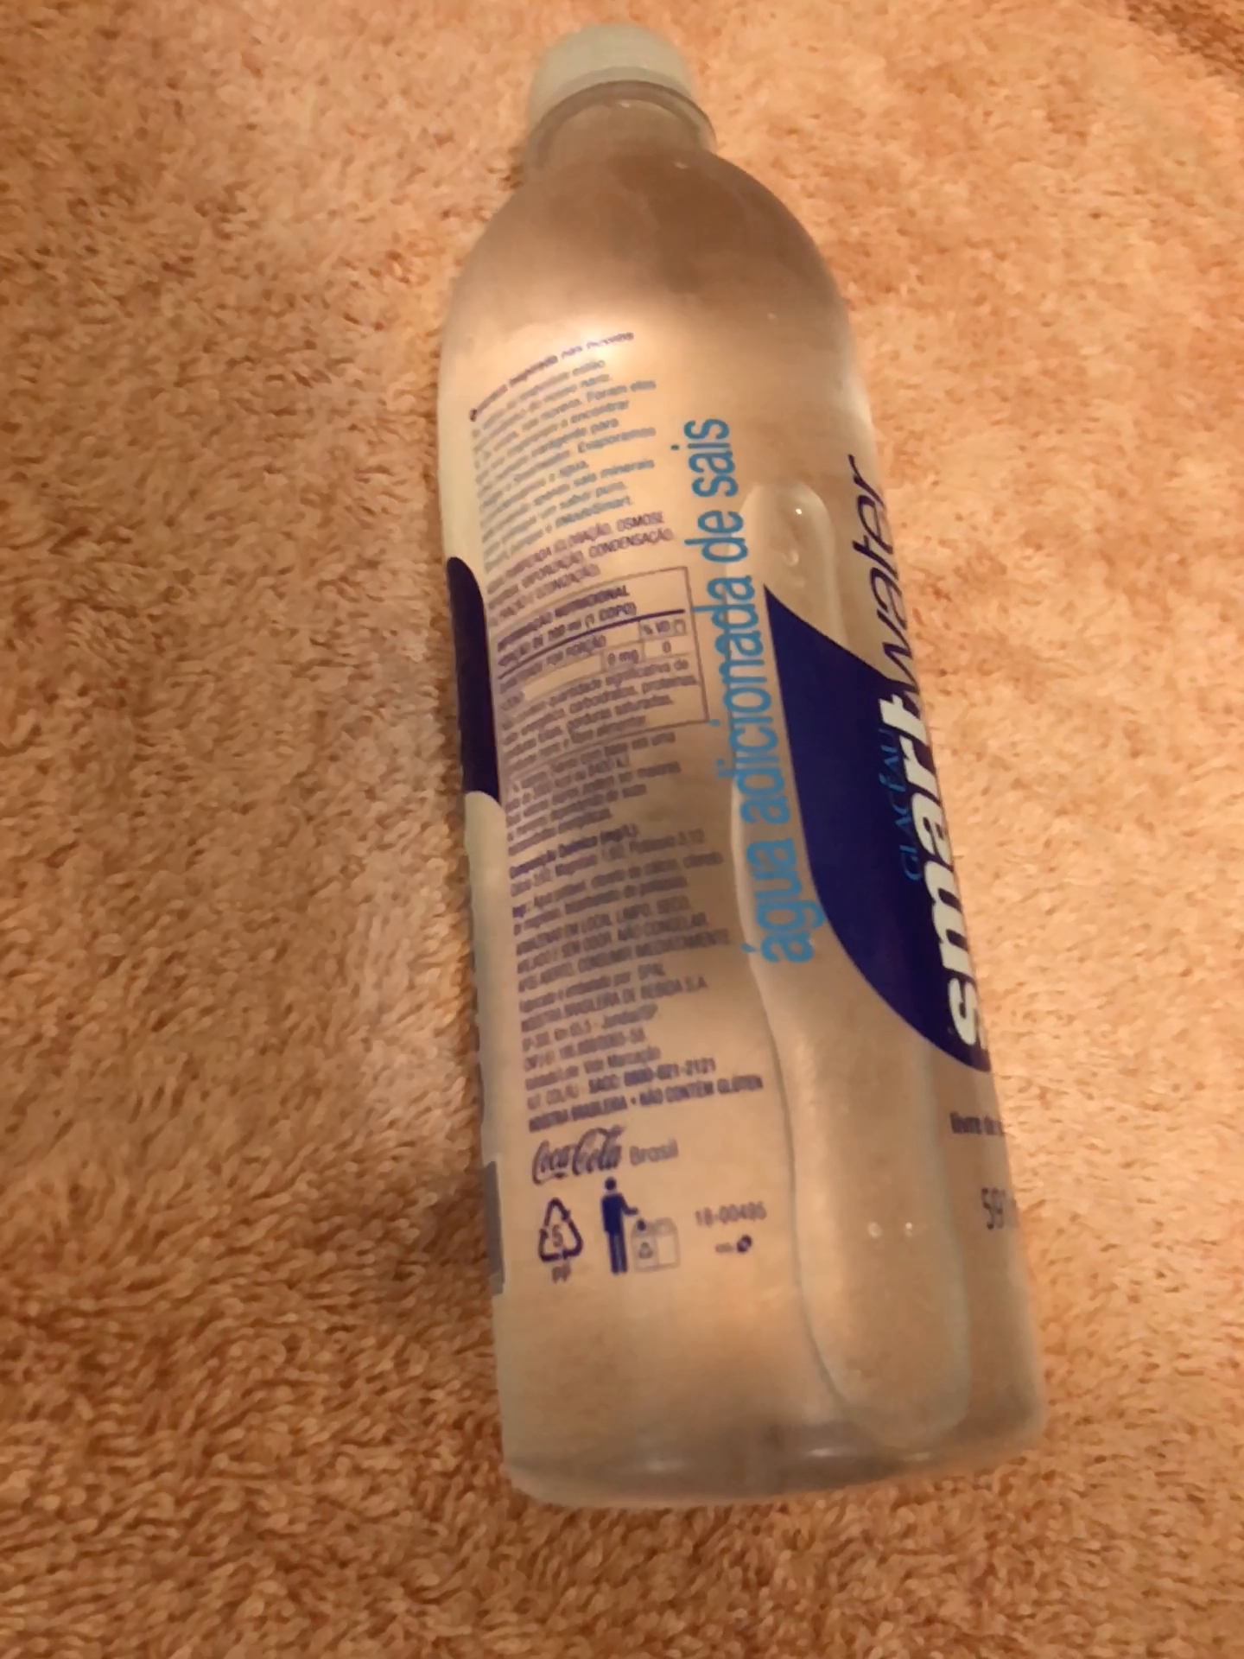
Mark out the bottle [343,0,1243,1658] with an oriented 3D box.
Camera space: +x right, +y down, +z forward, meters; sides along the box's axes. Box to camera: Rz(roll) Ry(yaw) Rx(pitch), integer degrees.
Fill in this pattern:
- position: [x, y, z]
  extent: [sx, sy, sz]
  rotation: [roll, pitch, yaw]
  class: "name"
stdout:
- position: [0.015, -0.025, 0.183]
  extent: [0.080, 0.050, 0.230]
  rotation: [4, 71, -31]
  class: "bottle"
